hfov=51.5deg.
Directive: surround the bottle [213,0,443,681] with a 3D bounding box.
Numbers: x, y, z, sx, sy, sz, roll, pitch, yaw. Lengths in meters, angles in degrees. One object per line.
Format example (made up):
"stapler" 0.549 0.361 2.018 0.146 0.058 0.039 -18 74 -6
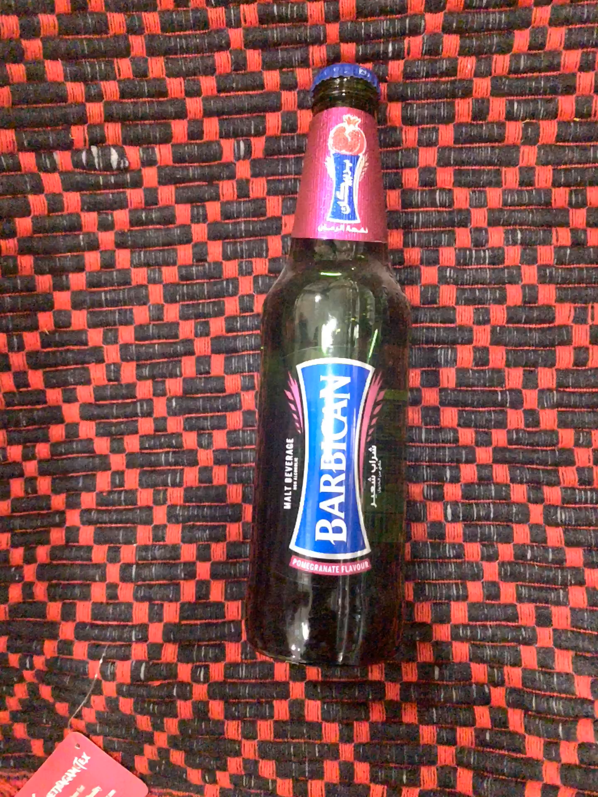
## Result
"bottle" 0.015 -0.025 0.252 0.070 0.080 0.240 0 78 6
